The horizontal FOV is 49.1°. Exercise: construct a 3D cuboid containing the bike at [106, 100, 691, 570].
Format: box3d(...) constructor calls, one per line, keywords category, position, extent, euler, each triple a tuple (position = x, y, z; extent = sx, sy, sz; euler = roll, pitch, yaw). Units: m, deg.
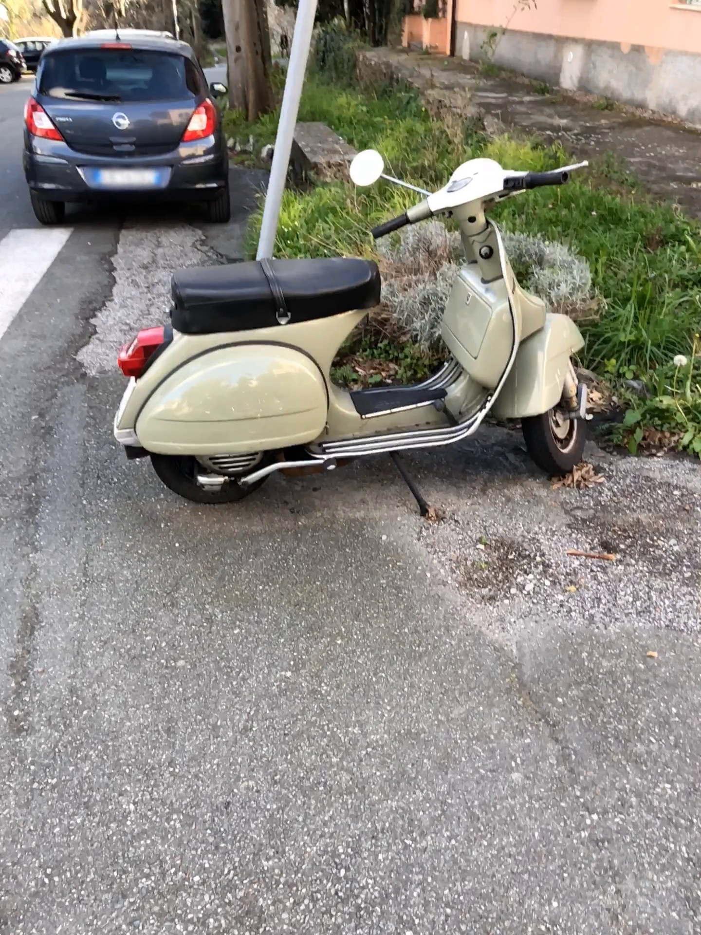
box3d(category="bike", position=(0.087, -0.435, 2.343), extent=(1.441, 1.028, 0.624), euler=(-10, 34, -10))
